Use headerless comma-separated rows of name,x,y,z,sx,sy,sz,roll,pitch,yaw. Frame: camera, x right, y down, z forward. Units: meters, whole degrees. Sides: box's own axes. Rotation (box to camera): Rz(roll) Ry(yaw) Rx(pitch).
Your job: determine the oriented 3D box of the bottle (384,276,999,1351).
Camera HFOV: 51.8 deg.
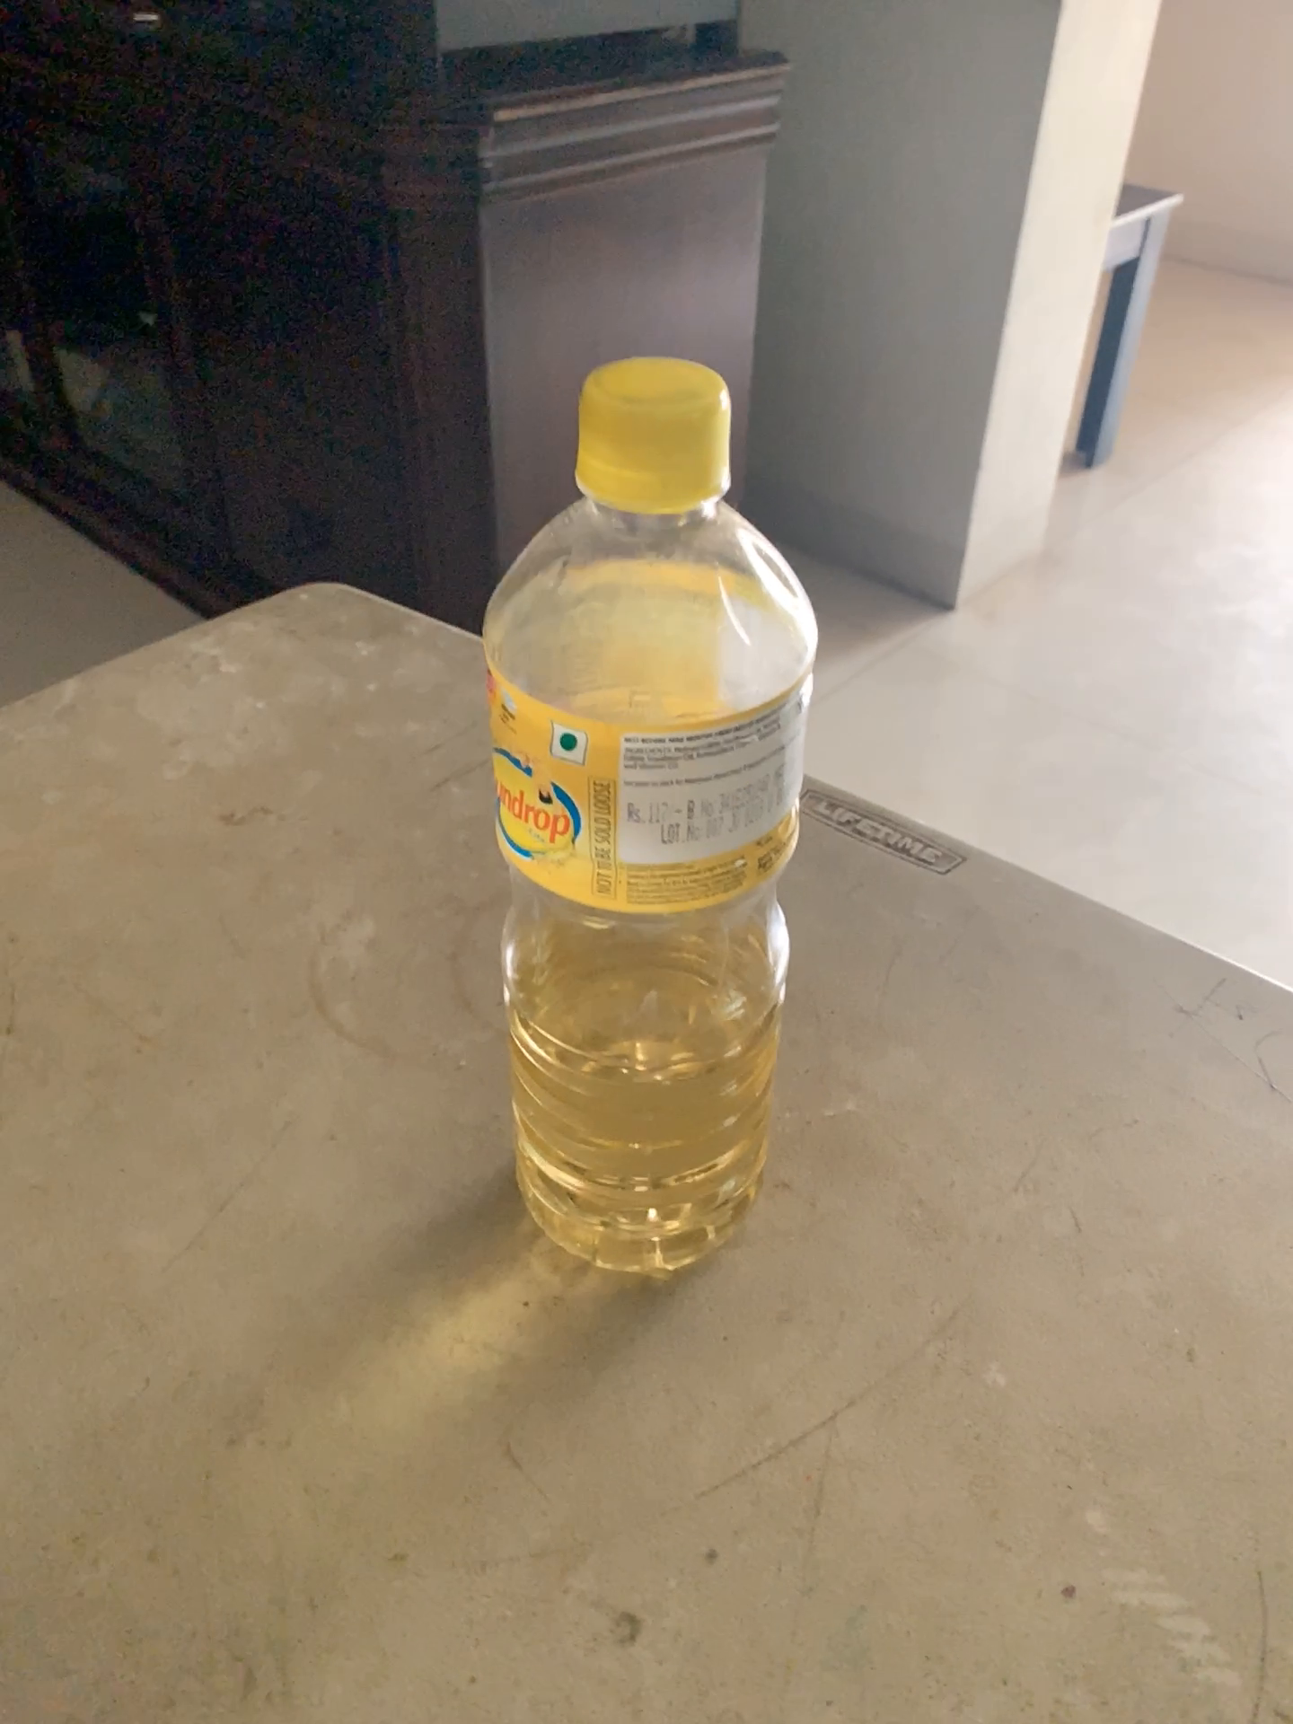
bottle,0.006,0.002,0.360,0.090,0.269,0.090,1,40,-1
